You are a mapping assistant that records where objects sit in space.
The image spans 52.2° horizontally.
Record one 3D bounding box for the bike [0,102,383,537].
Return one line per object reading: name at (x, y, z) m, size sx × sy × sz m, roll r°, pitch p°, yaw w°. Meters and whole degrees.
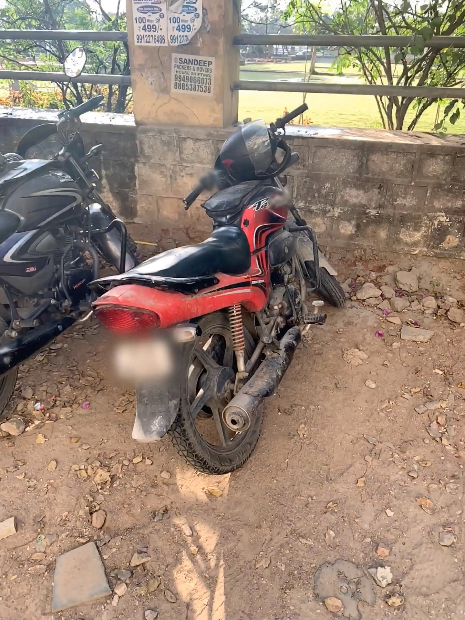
bike at (-0.078, -0.201, 2.137) m, size 1.064 × 1.245 × 1.602 m, roll 12°, pitch 29°, yaw 19°
